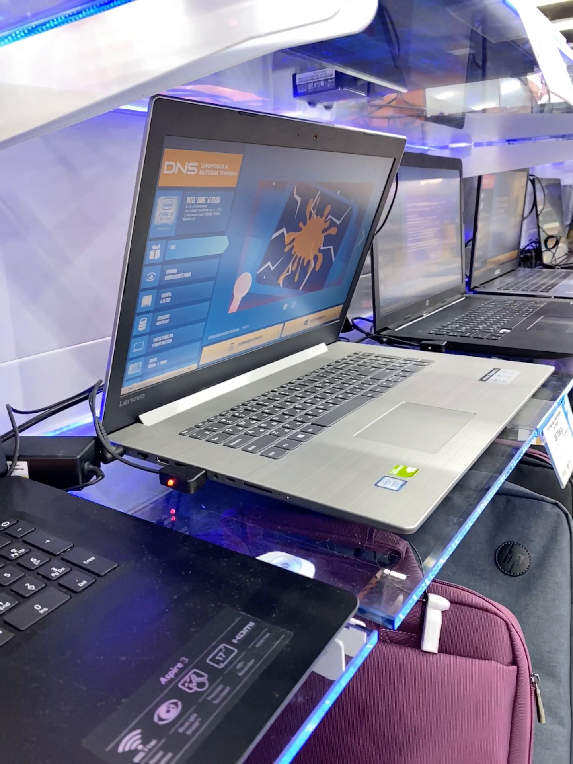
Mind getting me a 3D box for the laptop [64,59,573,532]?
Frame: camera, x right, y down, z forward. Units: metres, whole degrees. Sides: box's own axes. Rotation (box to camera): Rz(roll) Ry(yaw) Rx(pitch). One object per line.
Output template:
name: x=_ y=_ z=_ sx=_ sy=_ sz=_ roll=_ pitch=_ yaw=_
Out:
laptop: x=0.072 y=-0.105 z=0.559 sx=0.280 sy=0.256 sz=0.417 roll=10 pitch=20 yaw=33
